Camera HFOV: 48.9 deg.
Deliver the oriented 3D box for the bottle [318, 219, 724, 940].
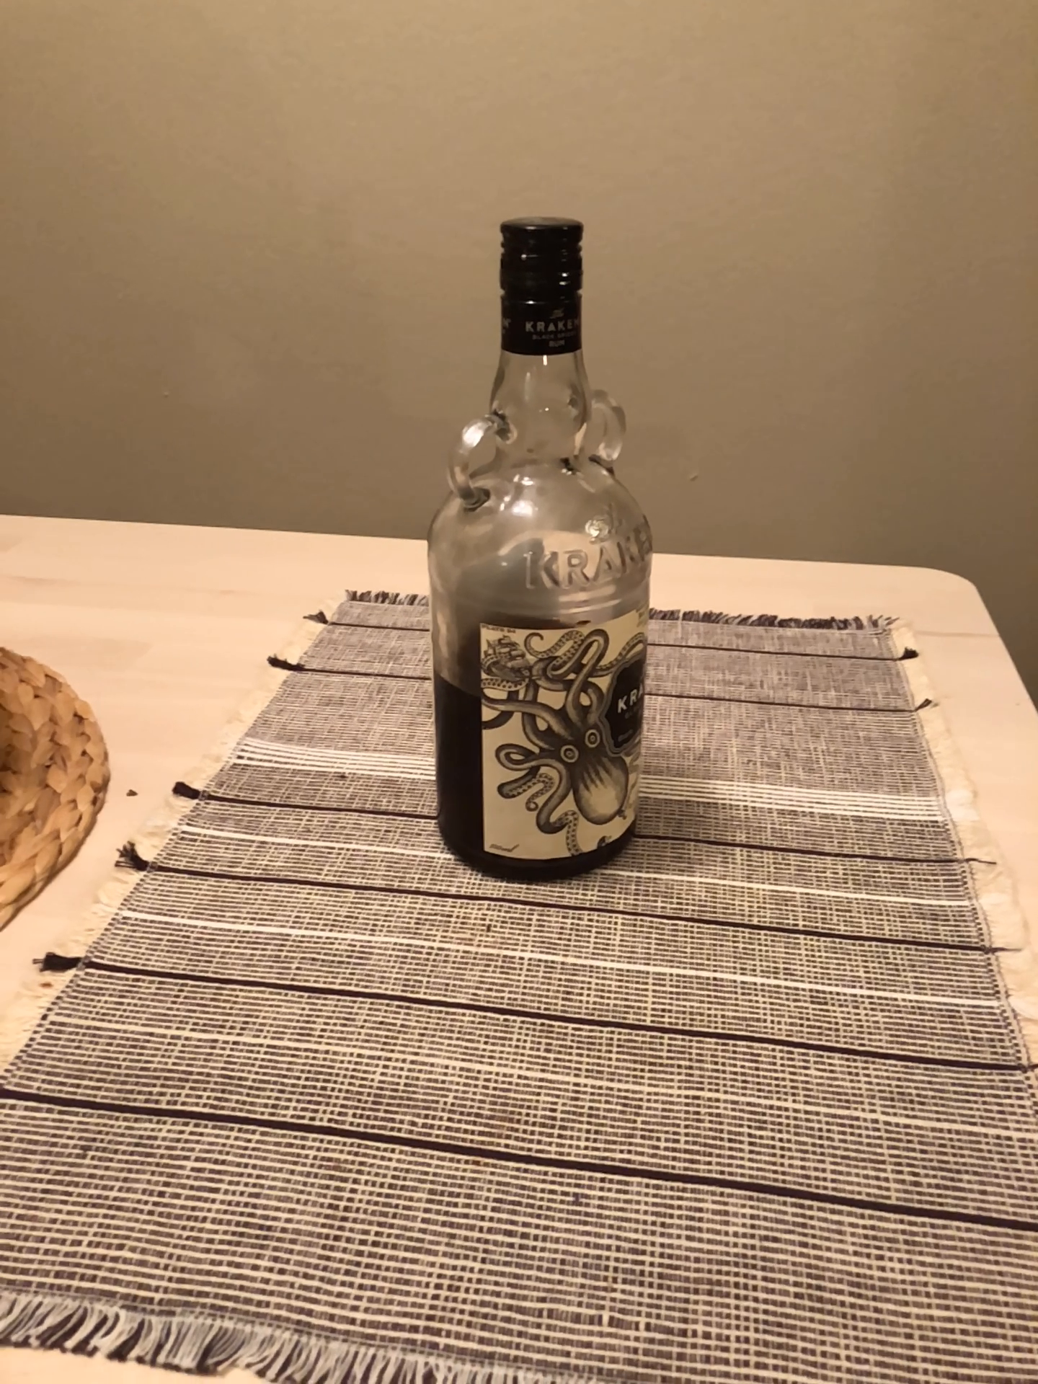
[{"bbox_3d":[0.002,-0.047,0.452,0.100,0.249,0.100,0,27,0],"label":"bottle"}]
